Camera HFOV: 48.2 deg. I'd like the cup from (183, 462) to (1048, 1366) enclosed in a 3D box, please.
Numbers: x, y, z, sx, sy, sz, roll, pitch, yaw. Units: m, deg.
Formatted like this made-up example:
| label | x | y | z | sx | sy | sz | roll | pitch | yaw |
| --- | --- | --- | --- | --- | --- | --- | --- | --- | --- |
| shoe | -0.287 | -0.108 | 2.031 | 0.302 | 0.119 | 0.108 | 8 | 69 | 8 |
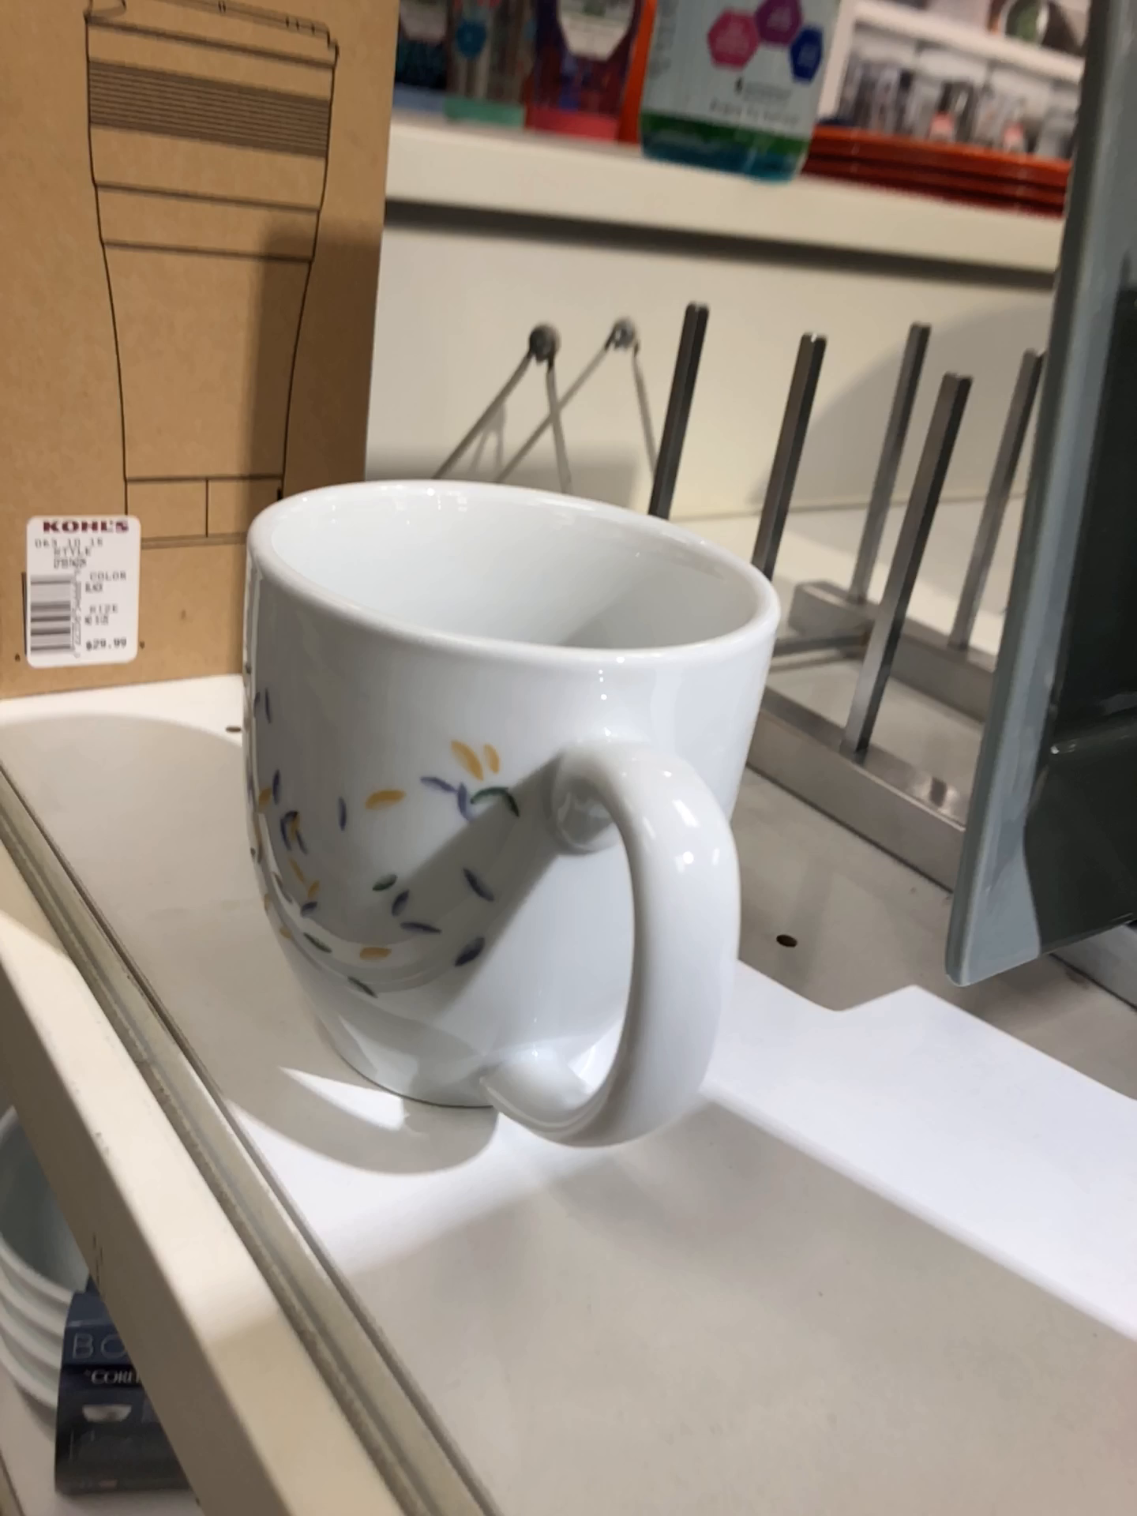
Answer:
| label | x | y | z | sx | sy | sz | roll | pitch | yaw |
| --- | --- | --- | --- | --- | --- | --- | --- | --- | --- |
| cup | -0.008 | 0.011 | 0.226 | 0.093 | 0.091 | 0.128 | -5 | 29 | -27 |
